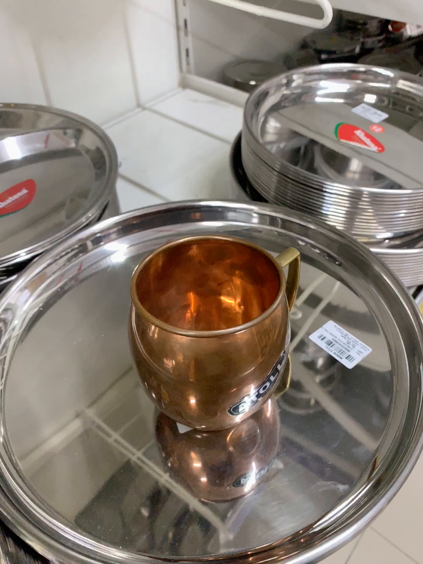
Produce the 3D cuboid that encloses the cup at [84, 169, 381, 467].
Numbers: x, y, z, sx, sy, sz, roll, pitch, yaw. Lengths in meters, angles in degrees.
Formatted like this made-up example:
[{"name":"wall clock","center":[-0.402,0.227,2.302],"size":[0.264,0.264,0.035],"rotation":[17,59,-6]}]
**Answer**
[{"name":"cup","center":[0.012,0.013,0.251],"size":[0.120,0.090,0.090],"rotation":[-32,53,-29]}]
